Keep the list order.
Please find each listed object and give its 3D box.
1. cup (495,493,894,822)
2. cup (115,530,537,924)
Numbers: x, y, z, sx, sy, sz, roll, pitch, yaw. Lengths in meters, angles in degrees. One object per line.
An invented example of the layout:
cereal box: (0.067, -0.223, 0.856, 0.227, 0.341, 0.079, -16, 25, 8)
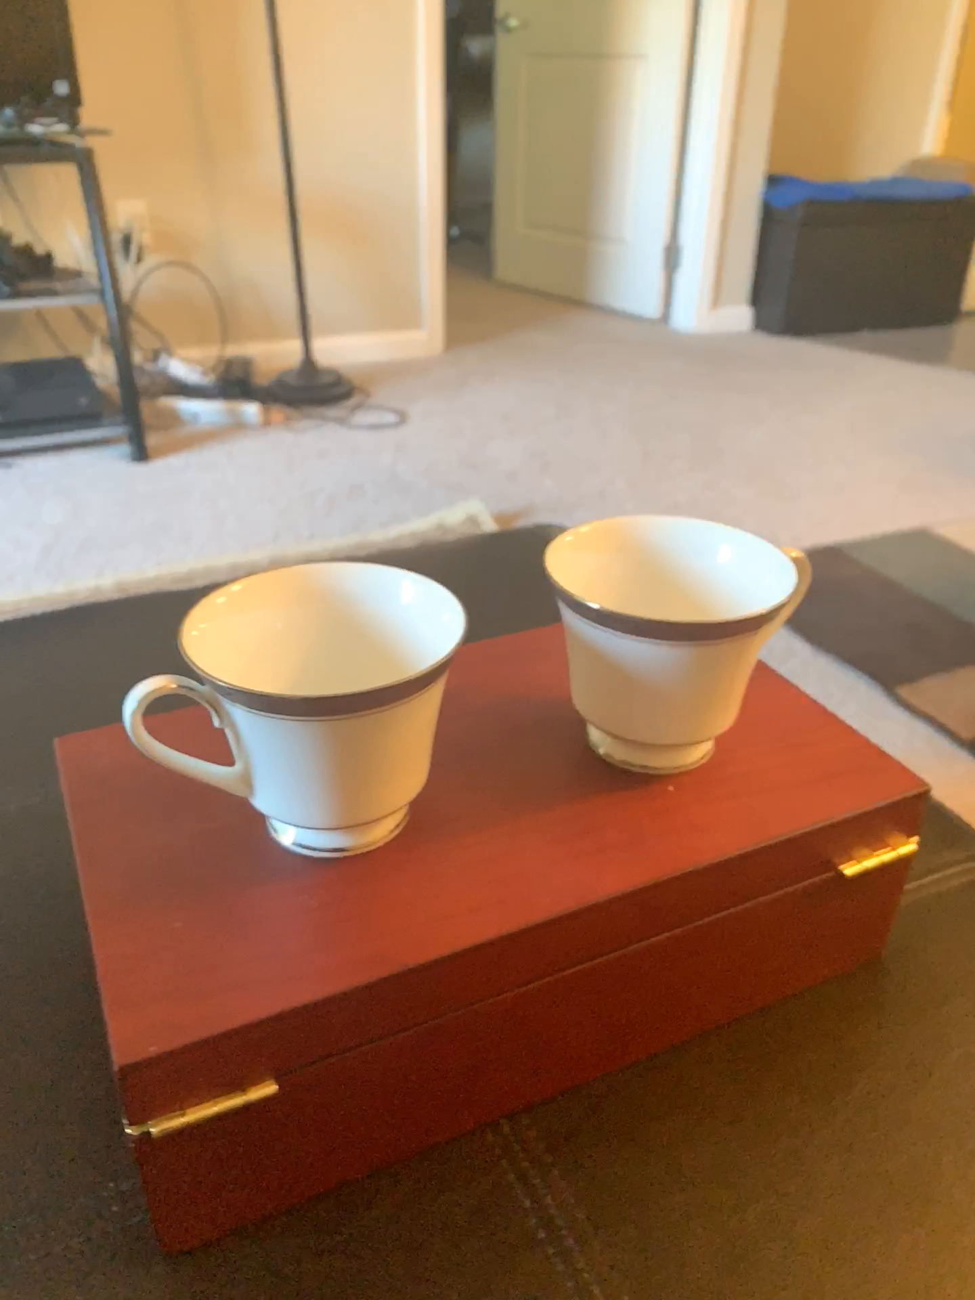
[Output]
cup: (0.072, -0.003, 0.386, 0.110, 0.070, 0.091, -13, 33, -21)
cup: (-0.054, 0.018, 0.335, 0.110, 0.070, 0.091, -12, 33, -21)
